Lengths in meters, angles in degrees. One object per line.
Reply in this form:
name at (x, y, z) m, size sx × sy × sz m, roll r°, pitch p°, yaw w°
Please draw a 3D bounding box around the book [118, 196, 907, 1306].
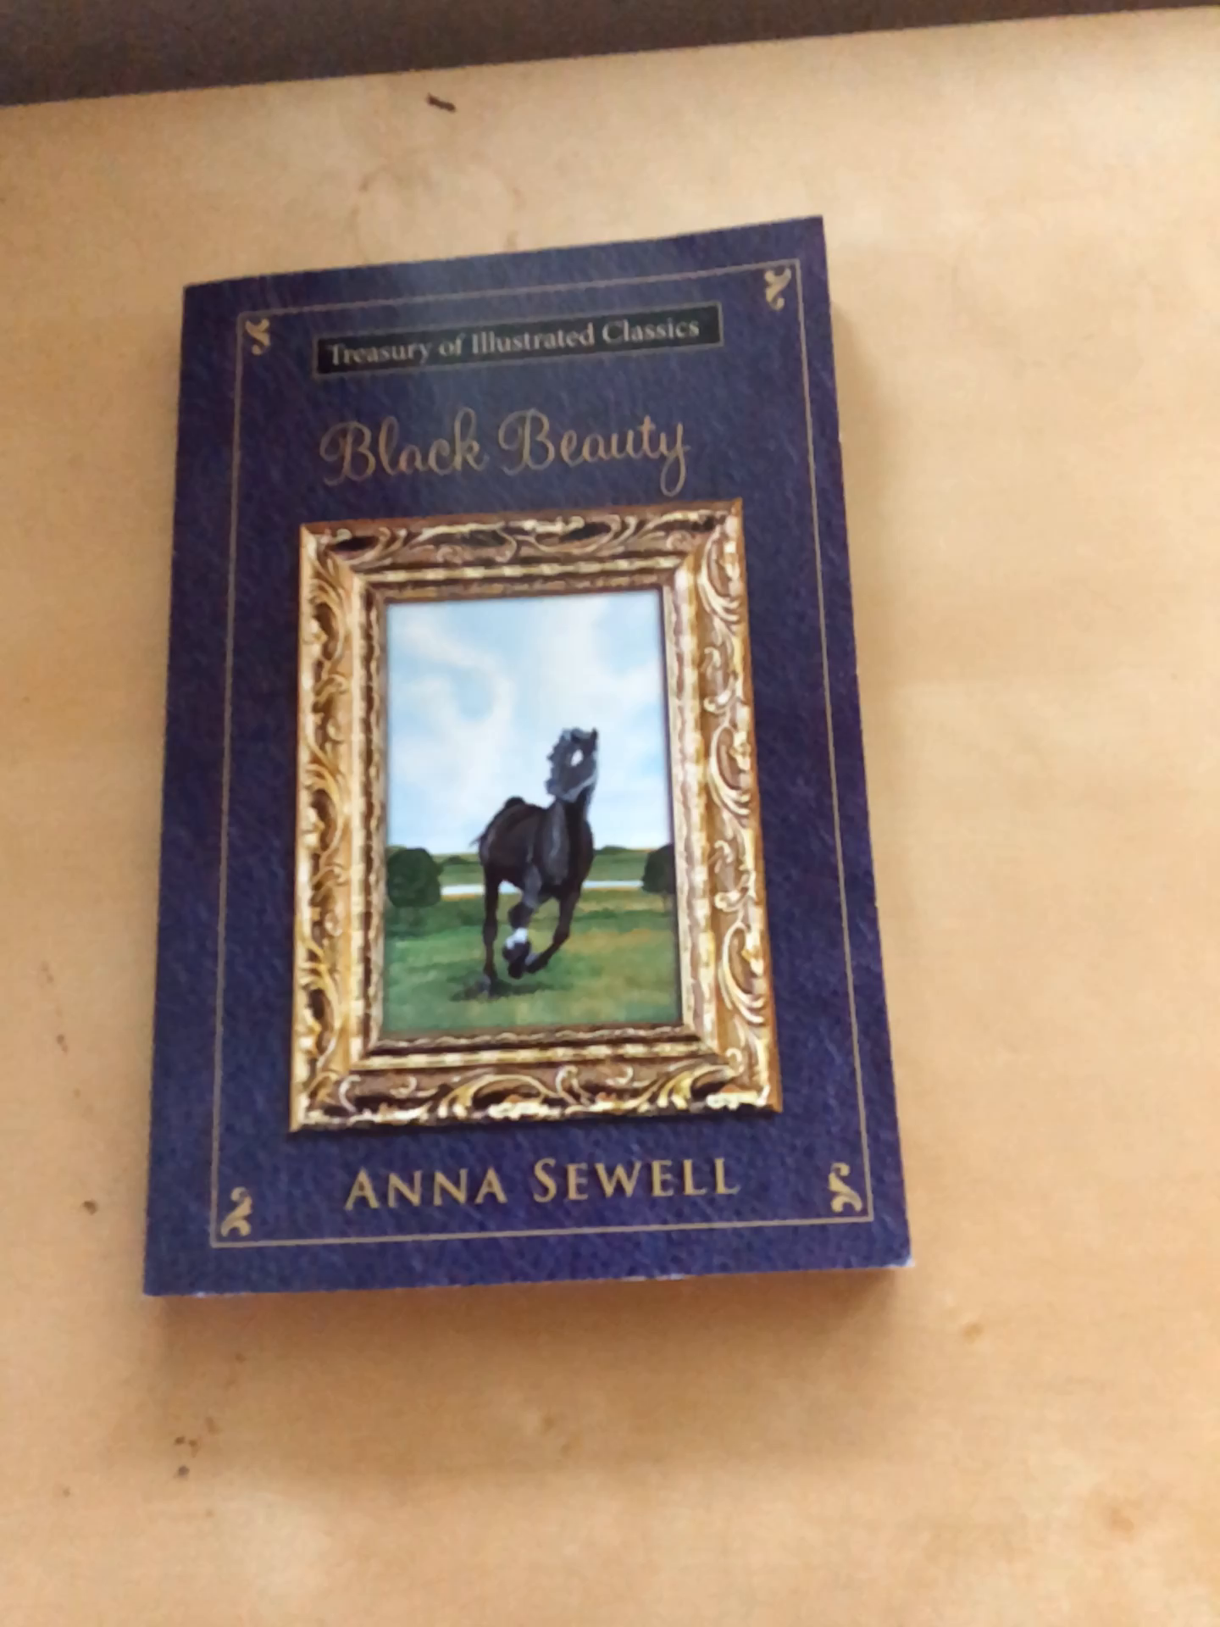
book at (-0.019, -0.015, 0.244) m, size 0.126 × 0.025 × 0.193 m, roll -3°, pitch 77°, yaw 4°
